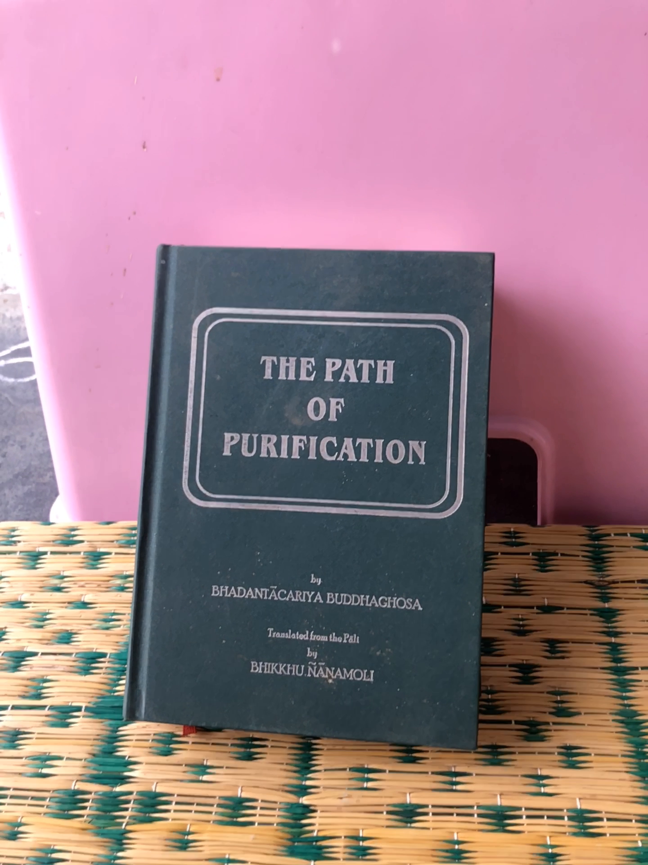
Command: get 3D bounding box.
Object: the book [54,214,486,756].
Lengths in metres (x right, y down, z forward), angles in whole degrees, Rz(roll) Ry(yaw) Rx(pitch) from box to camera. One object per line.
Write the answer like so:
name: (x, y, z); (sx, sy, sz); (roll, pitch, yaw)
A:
book: (-0.014, 0.017, 0.329); (0.160, 0.080, 0.210); (3, 80, 8)
